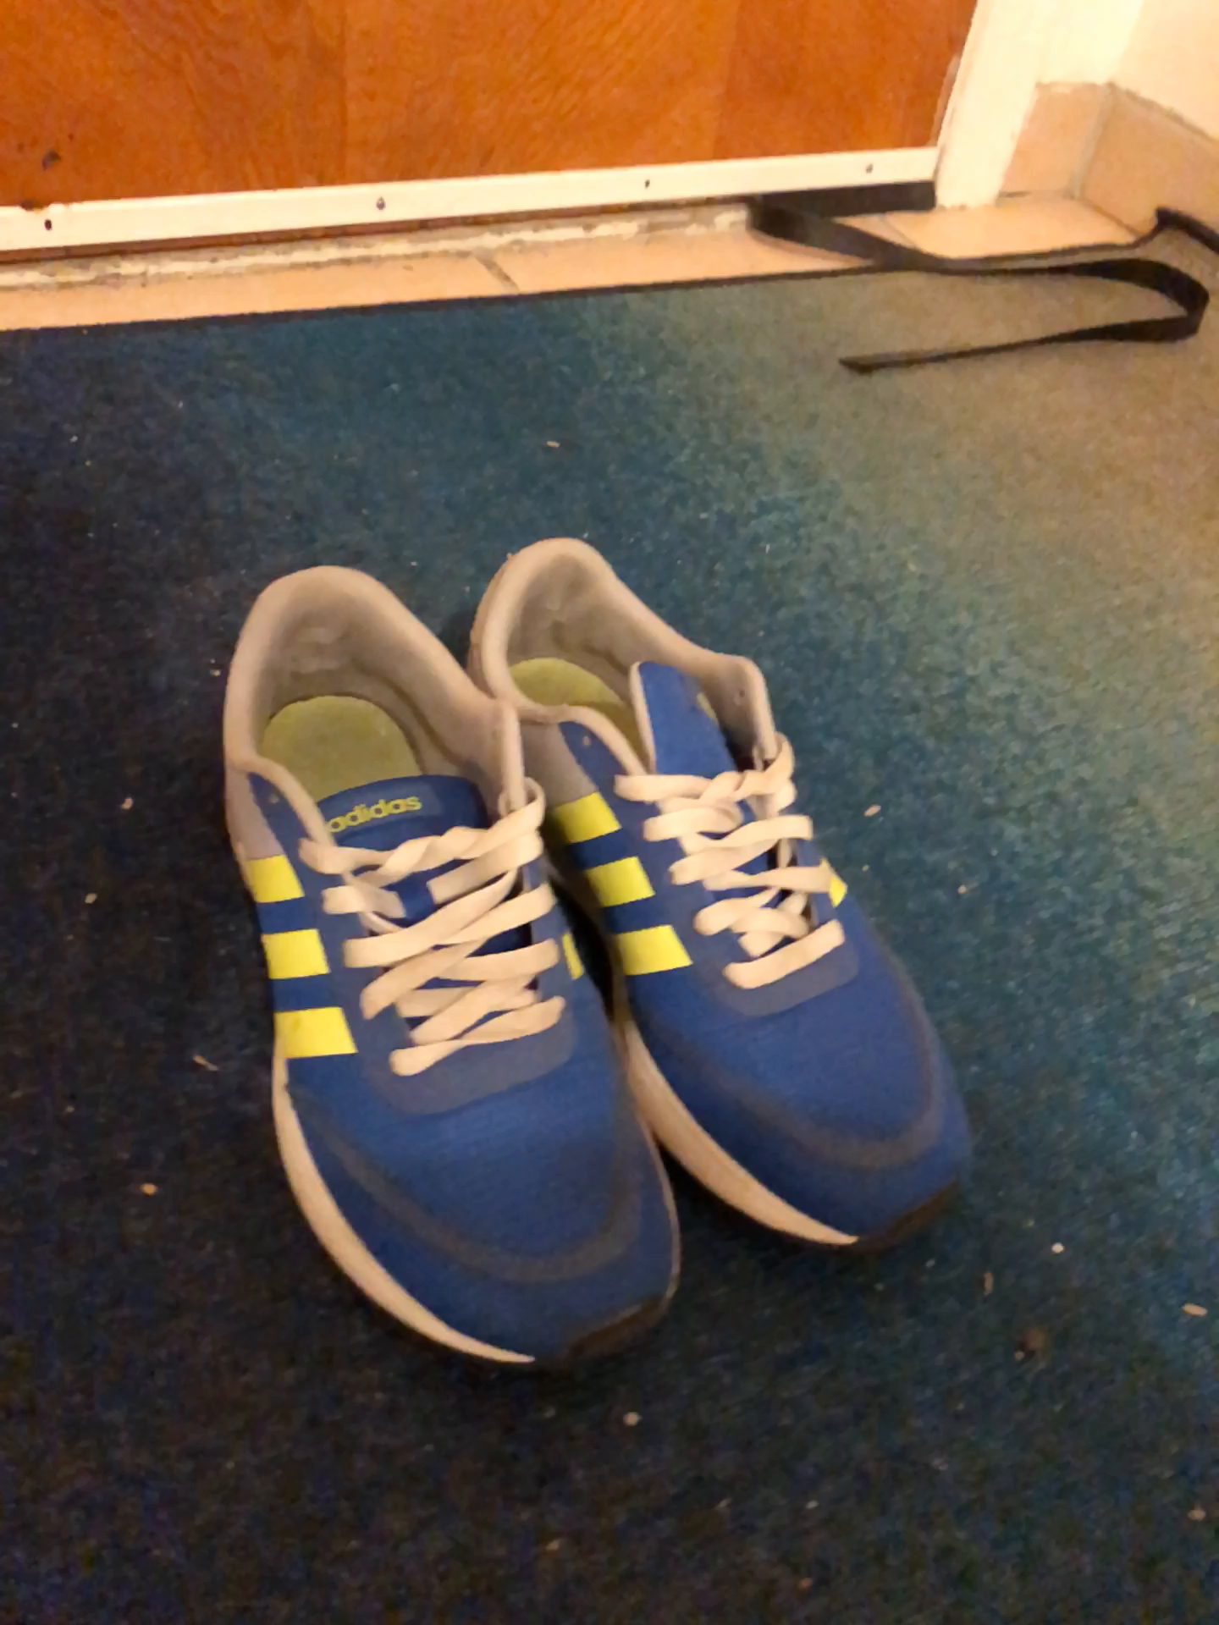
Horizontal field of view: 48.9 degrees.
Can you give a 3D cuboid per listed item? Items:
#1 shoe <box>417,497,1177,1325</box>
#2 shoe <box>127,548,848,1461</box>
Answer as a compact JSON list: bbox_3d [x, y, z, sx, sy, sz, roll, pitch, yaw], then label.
[{"bbox_3d":[0.038,0.012,0.445,0.110,0.089,0.261,-16,50,-24],"label":"shoe"},{"bbox_3d":[-0.055,0.036,0.417,0.110,0.089,0.261,-16,50,-24],"label":"shoe"}]
